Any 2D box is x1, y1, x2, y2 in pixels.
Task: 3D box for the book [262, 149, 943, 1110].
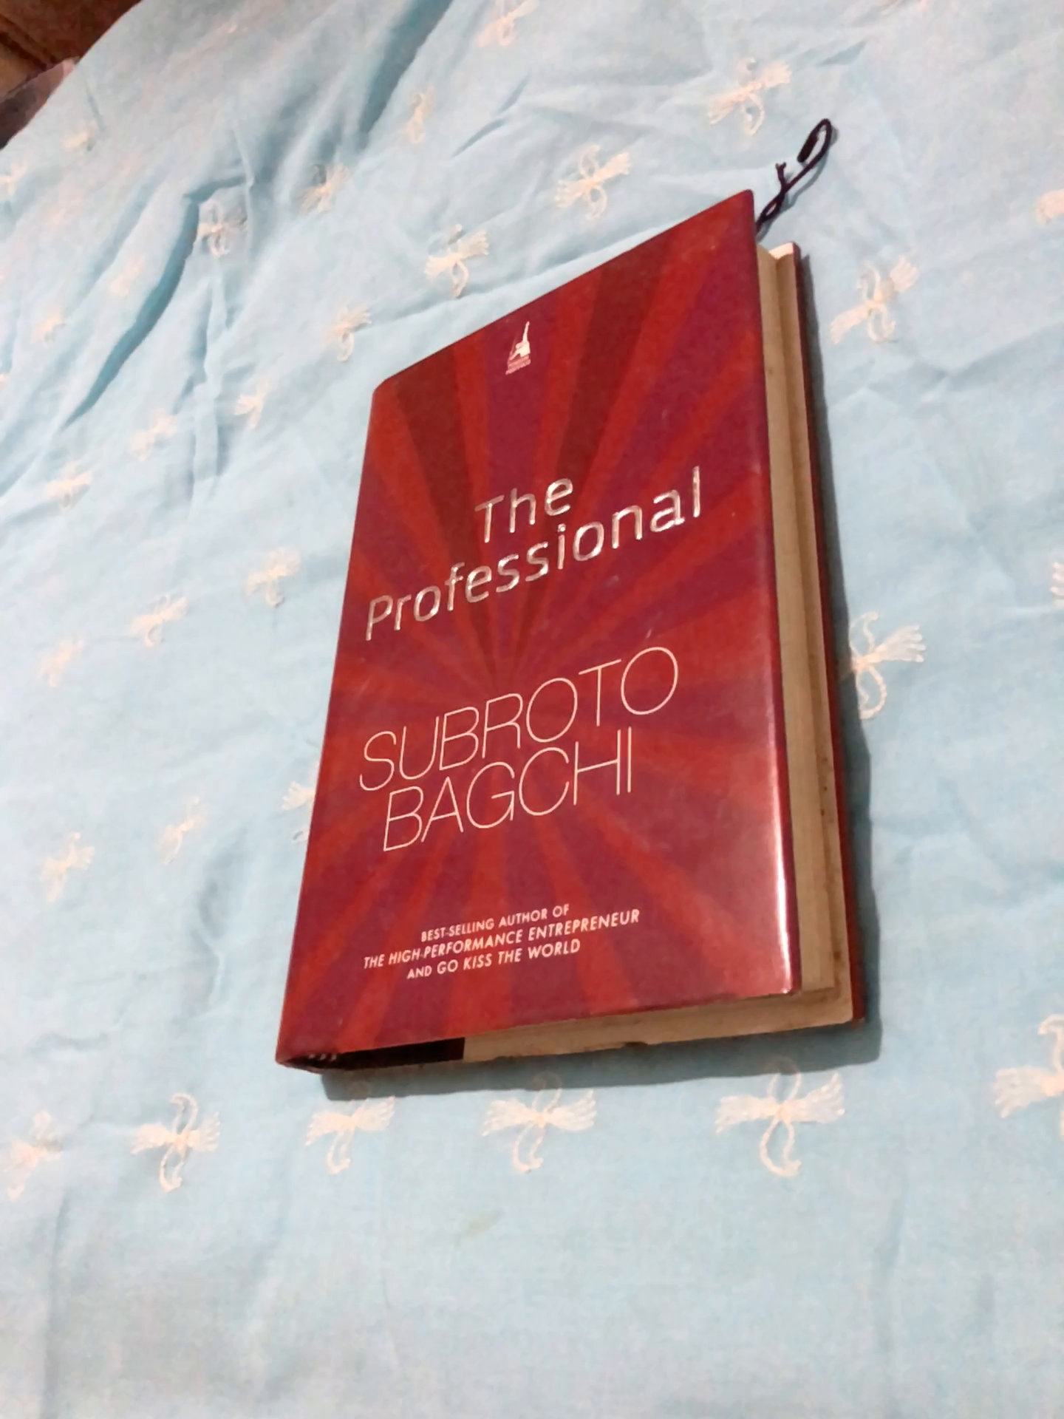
[{"bbox_3d":[0.012,-0.019,0.298,0.151,0.030,0.220,-16,58,33],"label":"book"}]
